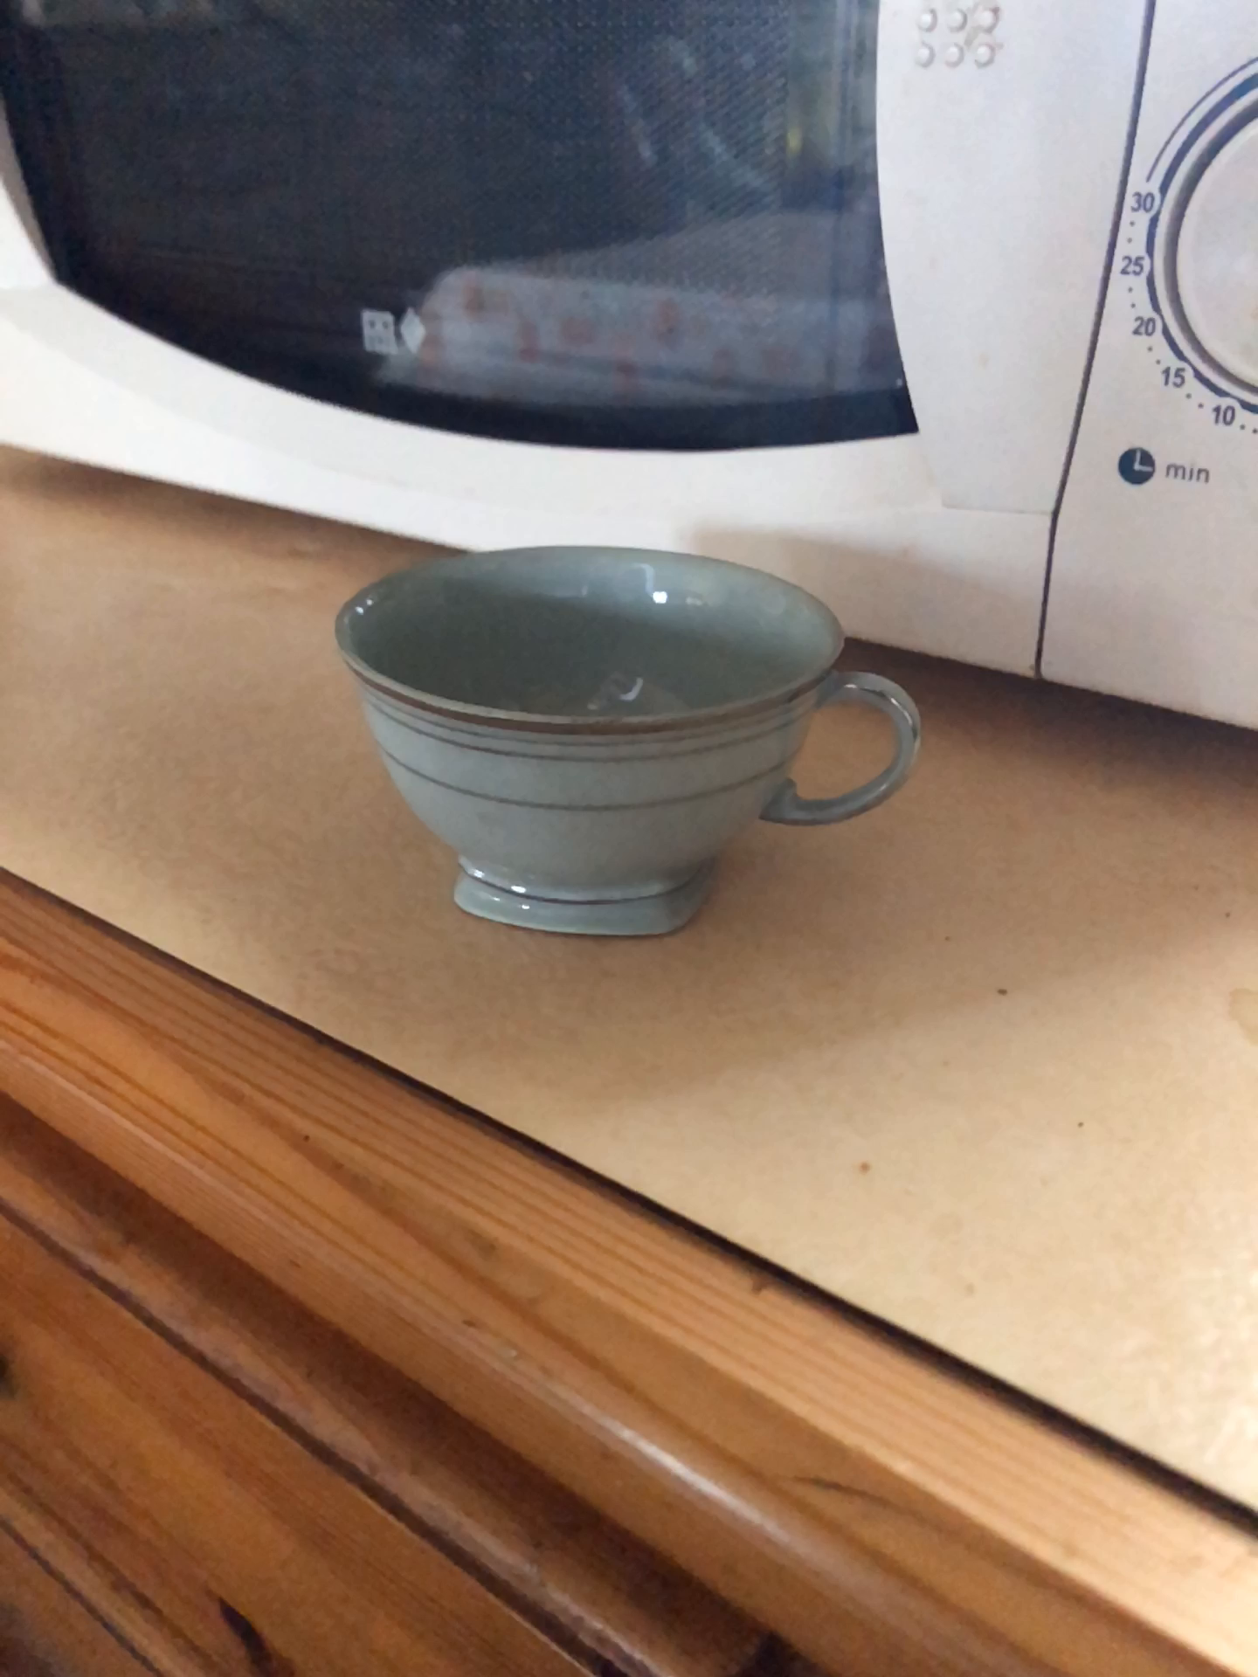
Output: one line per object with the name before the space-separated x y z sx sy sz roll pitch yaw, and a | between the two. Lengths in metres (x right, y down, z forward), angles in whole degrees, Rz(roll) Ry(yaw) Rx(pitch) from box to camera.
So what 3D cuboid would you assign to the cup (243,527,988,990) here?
cup | 0.002 -0.018 0.231 0.100 0.040 0.080 4 29 6
